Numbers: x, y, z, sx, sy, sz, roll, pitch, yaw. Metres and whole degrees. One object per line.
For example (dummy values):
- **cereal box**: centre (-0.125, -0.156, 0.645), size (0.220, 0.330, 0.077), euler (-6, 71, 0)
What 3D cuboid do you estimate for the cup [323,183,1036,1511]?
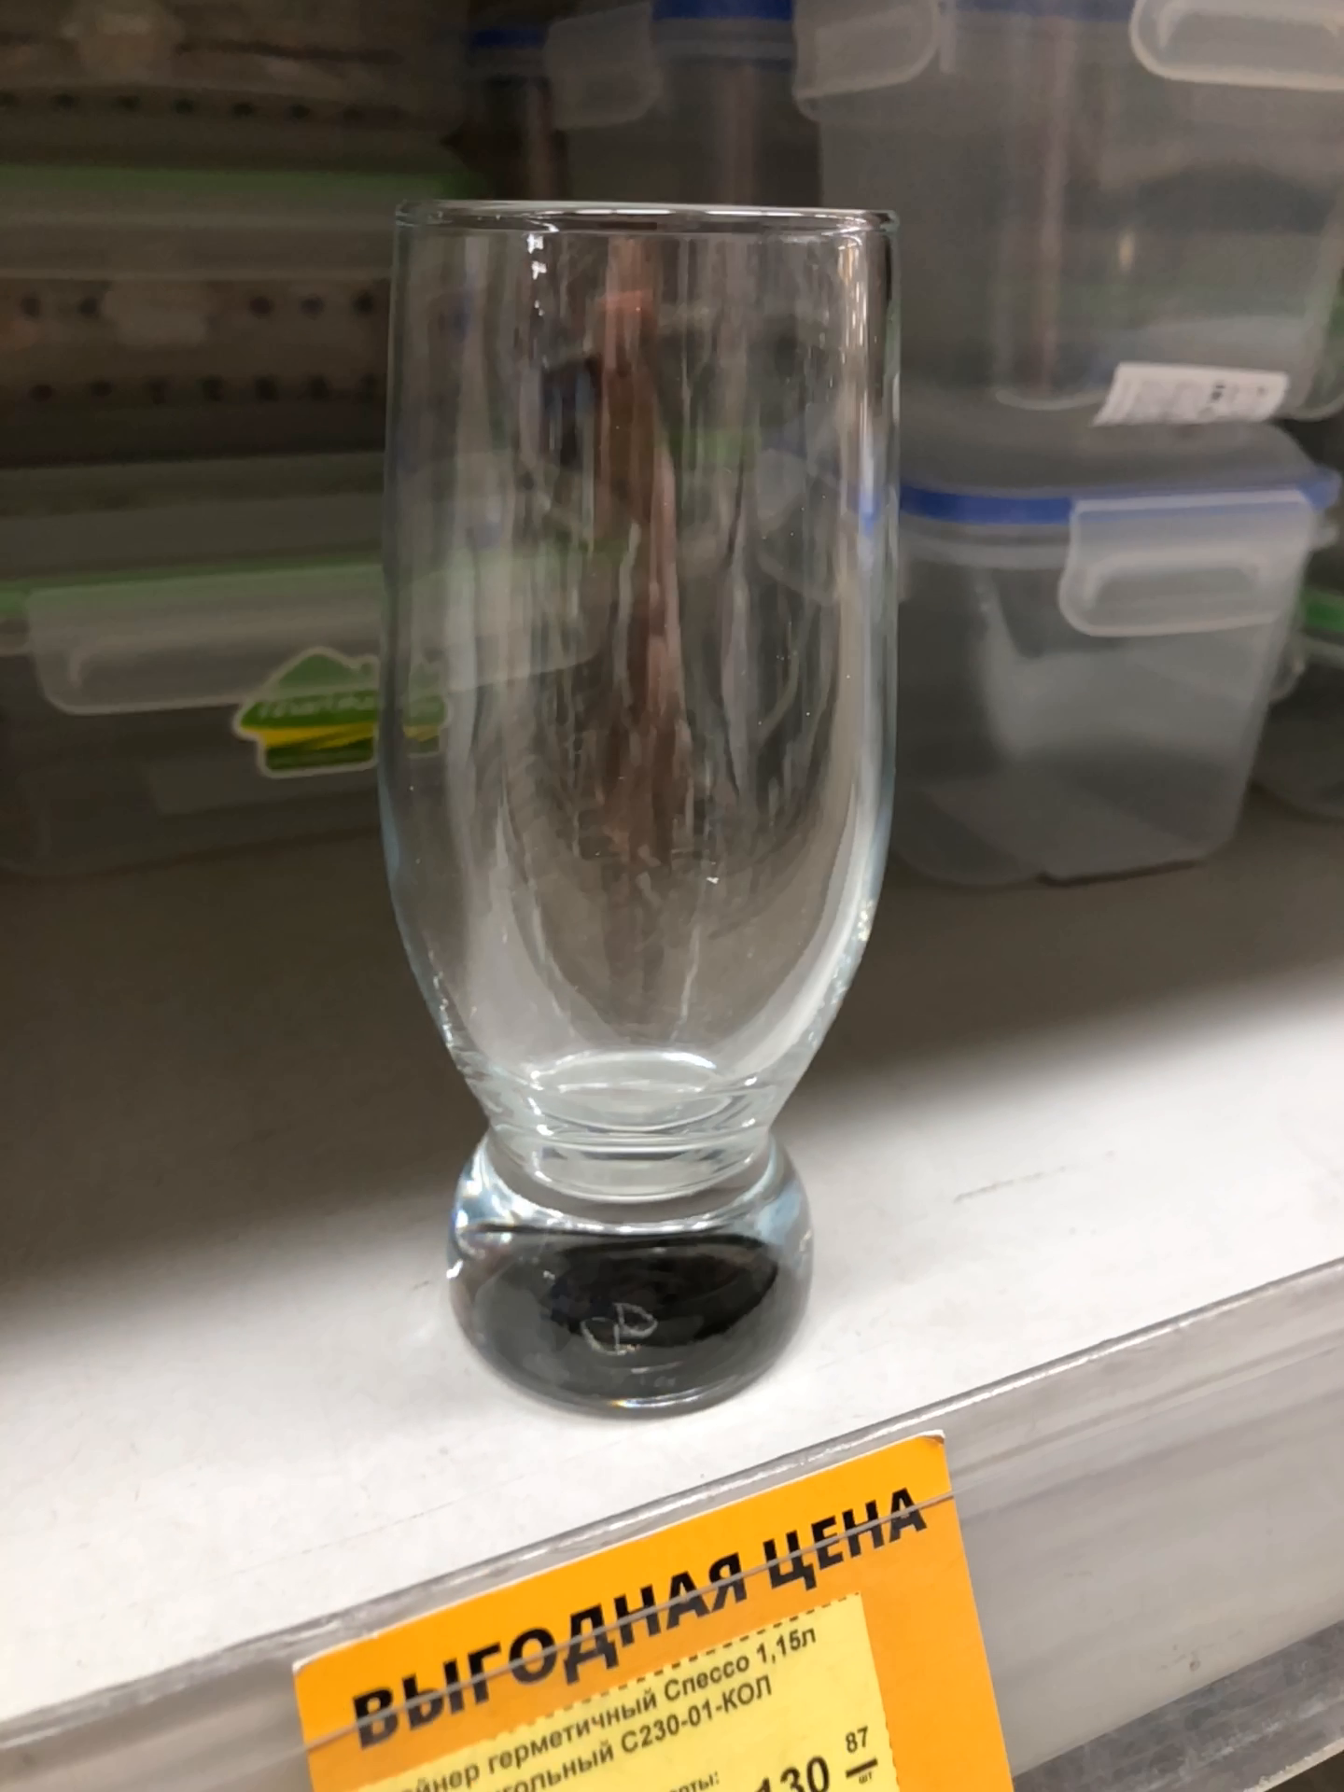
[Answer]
- **cup**: centre (-0.006, -0.009, 0.192), size (0.057, 0.146, 0.069), euler (-7, 26, -18)
